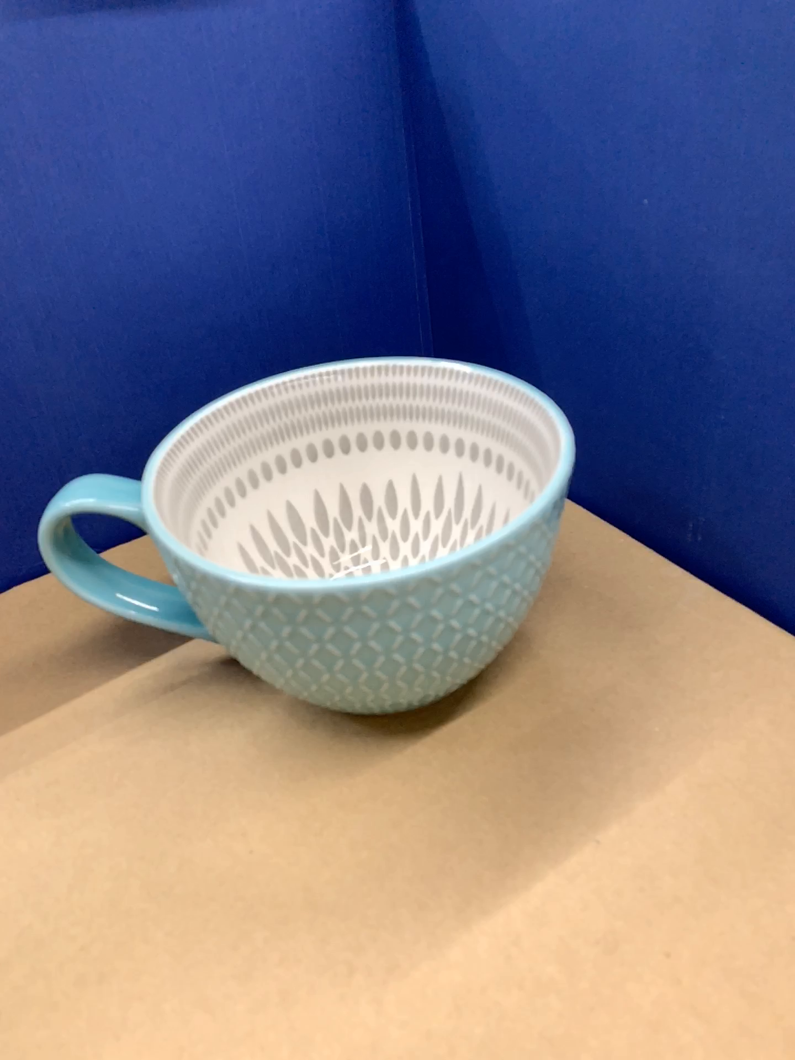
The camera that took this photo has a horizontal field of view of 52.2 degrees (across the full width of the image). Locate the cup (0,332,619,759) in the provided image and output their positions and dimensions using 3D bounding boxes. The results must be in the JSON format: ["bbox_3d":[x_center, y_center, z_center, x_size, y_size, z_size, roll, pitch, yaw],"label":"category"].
[{"bbox_3d":[-0.024,0.000,0.235,0.152,0.059,0.113,-3,38,6],"label":"cup"}]
